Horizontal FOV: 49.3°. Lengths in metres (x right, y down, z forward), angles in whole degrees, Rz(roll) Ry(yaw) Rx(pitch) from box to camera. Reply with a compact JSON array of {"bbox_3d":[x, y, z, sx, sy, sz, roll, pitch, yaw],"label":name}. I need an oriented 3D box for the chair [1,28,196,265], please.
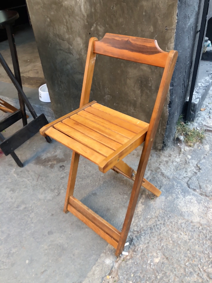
[{"bbox_3d":[0.008,0.011,1.073,0.482,0.854,0.502,25,46,34],"label":"chair"}]
